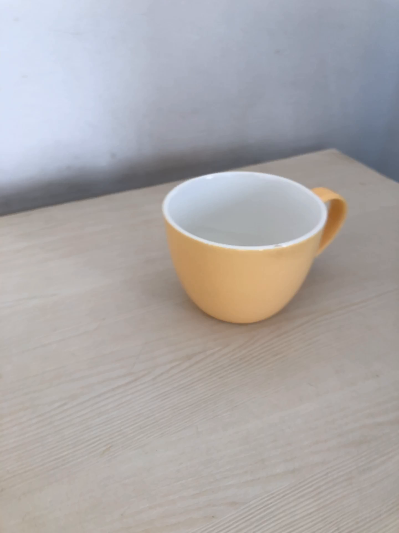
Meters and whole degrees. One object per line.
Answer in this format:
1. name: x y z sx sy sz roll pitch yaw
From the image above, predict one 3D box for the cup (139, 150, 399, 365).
1. cup: 0.044 -0.015 0.314 0.140 0.079 0.100 -15 38 -19
